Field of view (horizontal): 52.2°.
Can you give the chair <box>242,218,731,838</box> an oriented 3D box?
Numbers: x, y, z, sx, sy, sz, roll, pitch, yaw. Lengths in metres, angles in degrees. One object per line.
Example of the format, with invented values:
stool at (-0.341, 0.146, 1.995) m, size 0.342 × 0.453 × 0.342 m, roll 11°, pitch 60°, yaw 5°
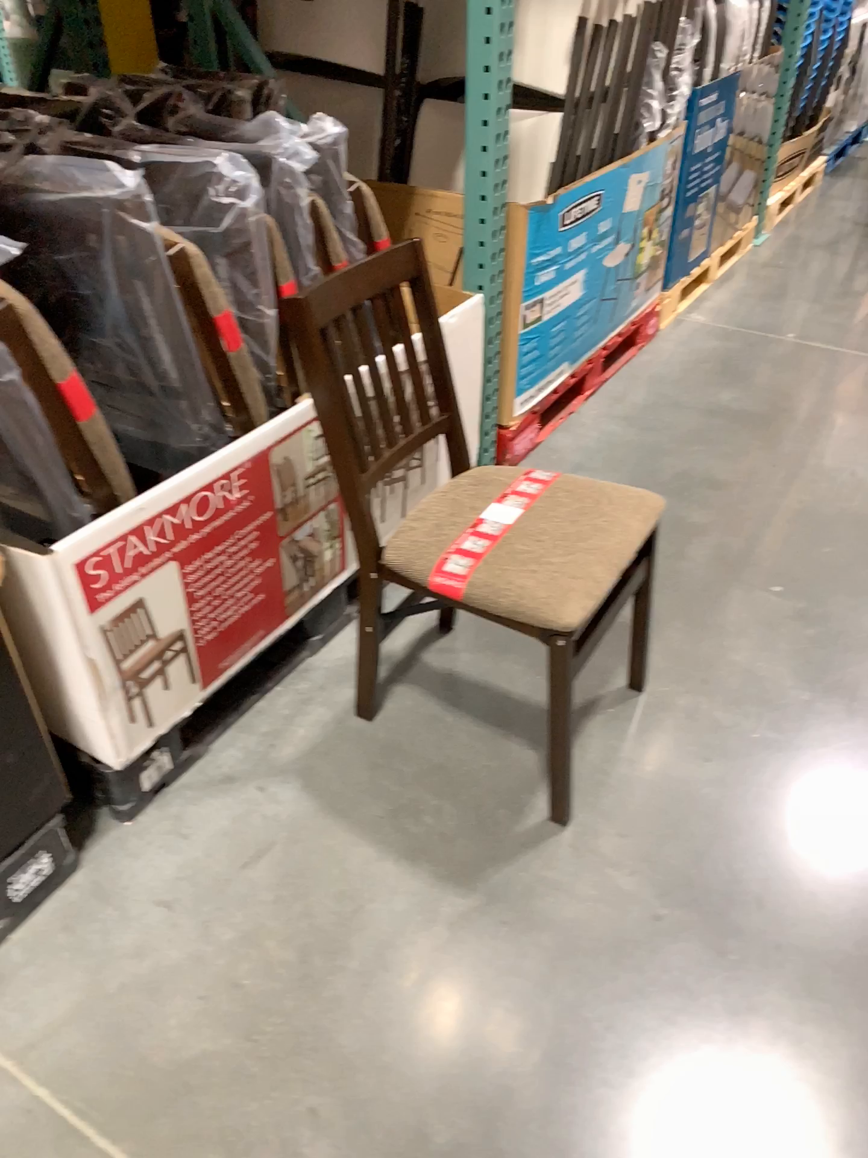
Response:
chair at (0.083, -0.091, 1.523) m, size 0.572 × 0.837 × 0.422 m, roll 20°, pitch 41°, yaw 24°
